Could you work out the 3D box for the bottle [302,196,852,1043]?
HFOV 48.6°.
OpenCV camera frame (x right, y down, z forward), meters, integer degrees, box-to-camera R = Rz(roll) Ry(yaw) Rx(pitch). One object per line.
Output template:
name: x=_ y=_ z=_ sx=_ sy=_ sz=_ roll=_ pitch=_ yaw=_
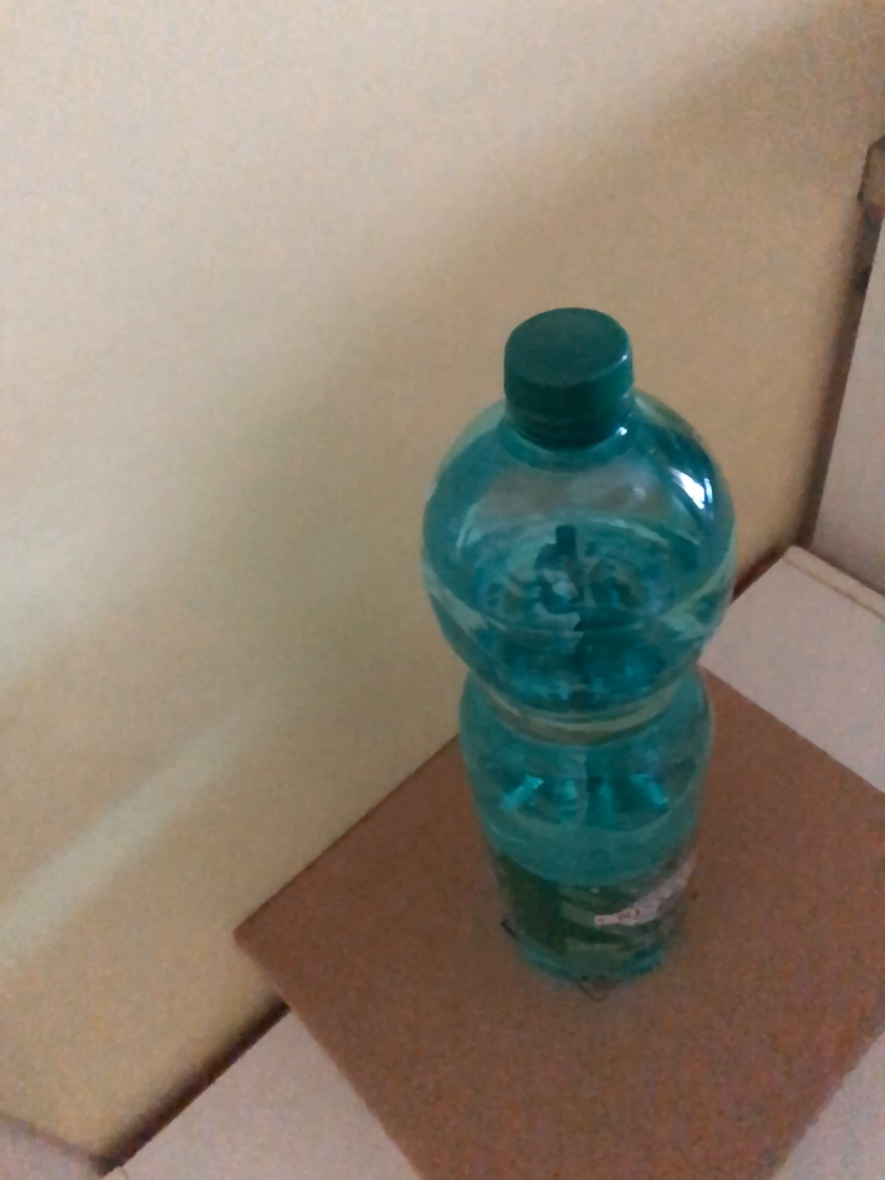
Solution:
bottle: x=0.051 y=0.051 z=0.346 sx=0.090 sy=0.338 sz=0.080 roll=-34 pitch=53 yaw=-17
